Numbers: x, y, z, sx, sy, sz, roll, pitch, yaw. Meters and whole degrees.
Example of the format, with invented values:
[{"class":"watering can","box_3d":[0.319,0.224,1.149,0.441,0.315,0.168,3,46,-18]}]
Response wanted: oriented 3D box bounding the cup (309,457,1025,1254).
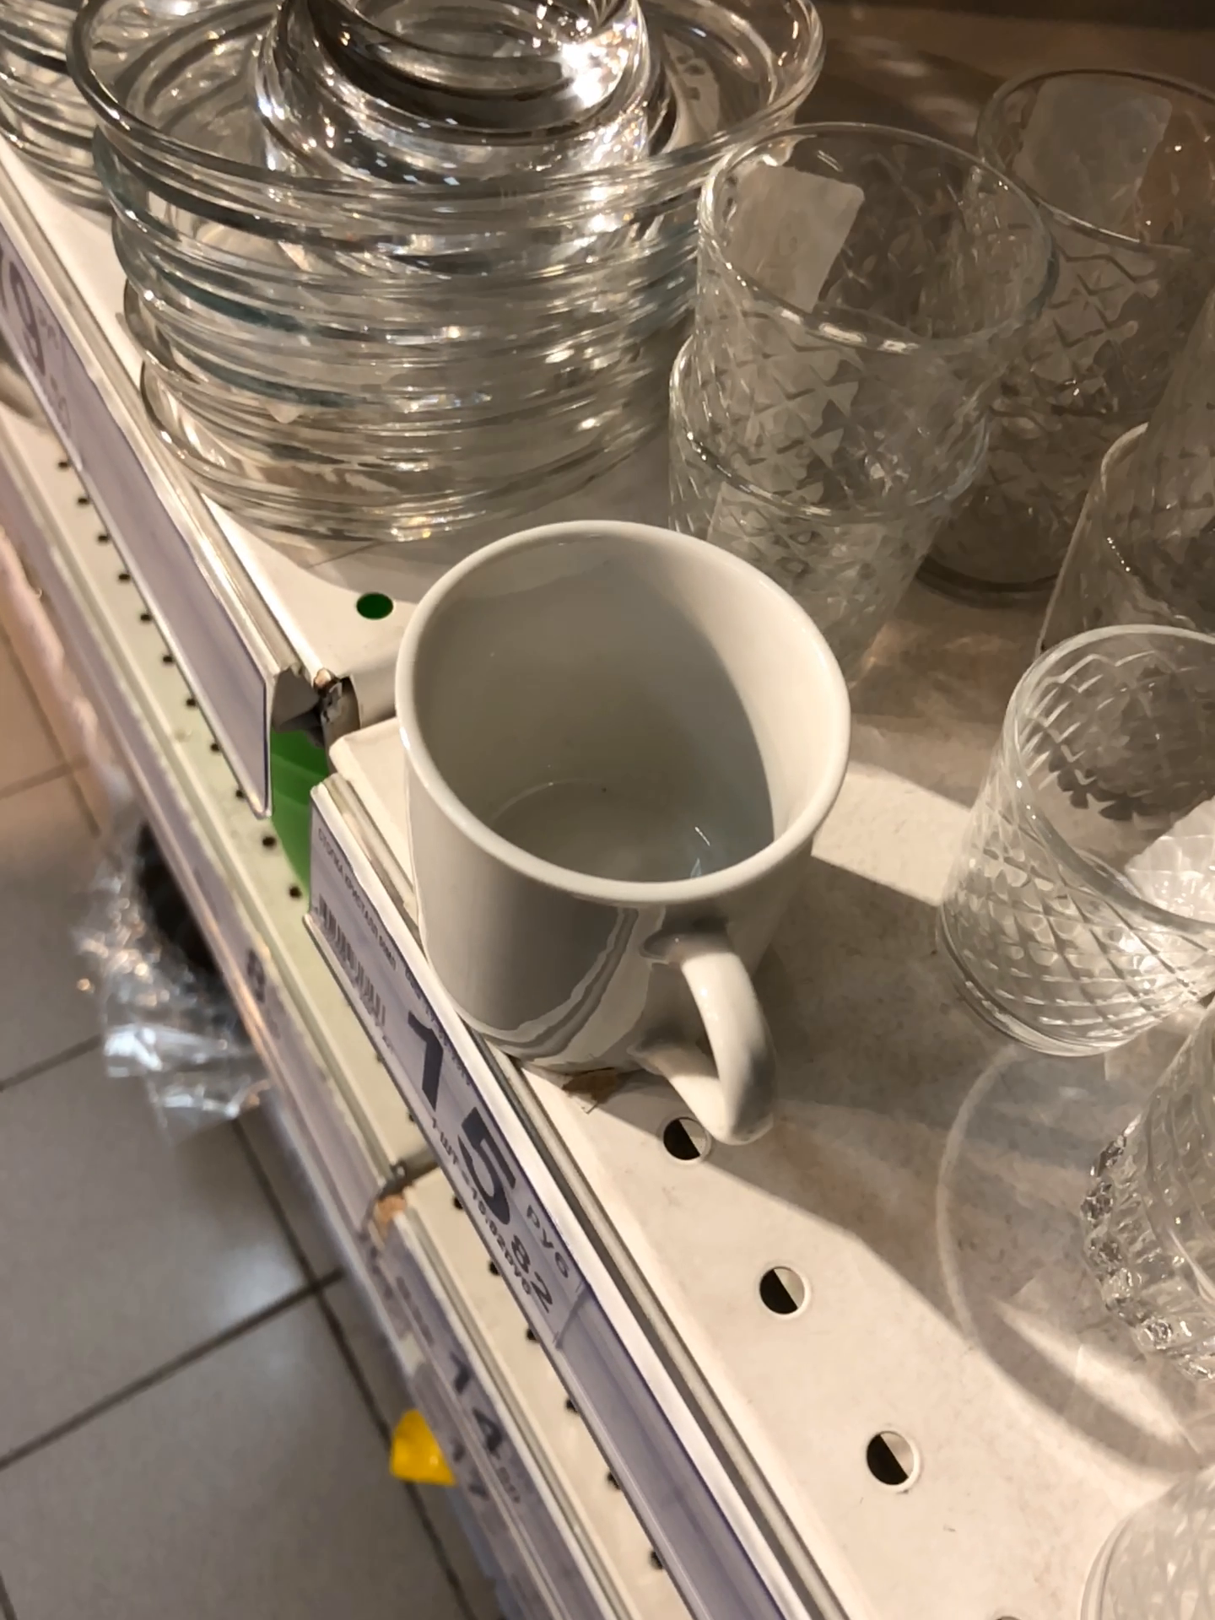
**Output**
[{"class":"cup","box_3d":[0.002,0.006,0.185,0.057,0.060,0.074,-20,63,-17]}]
